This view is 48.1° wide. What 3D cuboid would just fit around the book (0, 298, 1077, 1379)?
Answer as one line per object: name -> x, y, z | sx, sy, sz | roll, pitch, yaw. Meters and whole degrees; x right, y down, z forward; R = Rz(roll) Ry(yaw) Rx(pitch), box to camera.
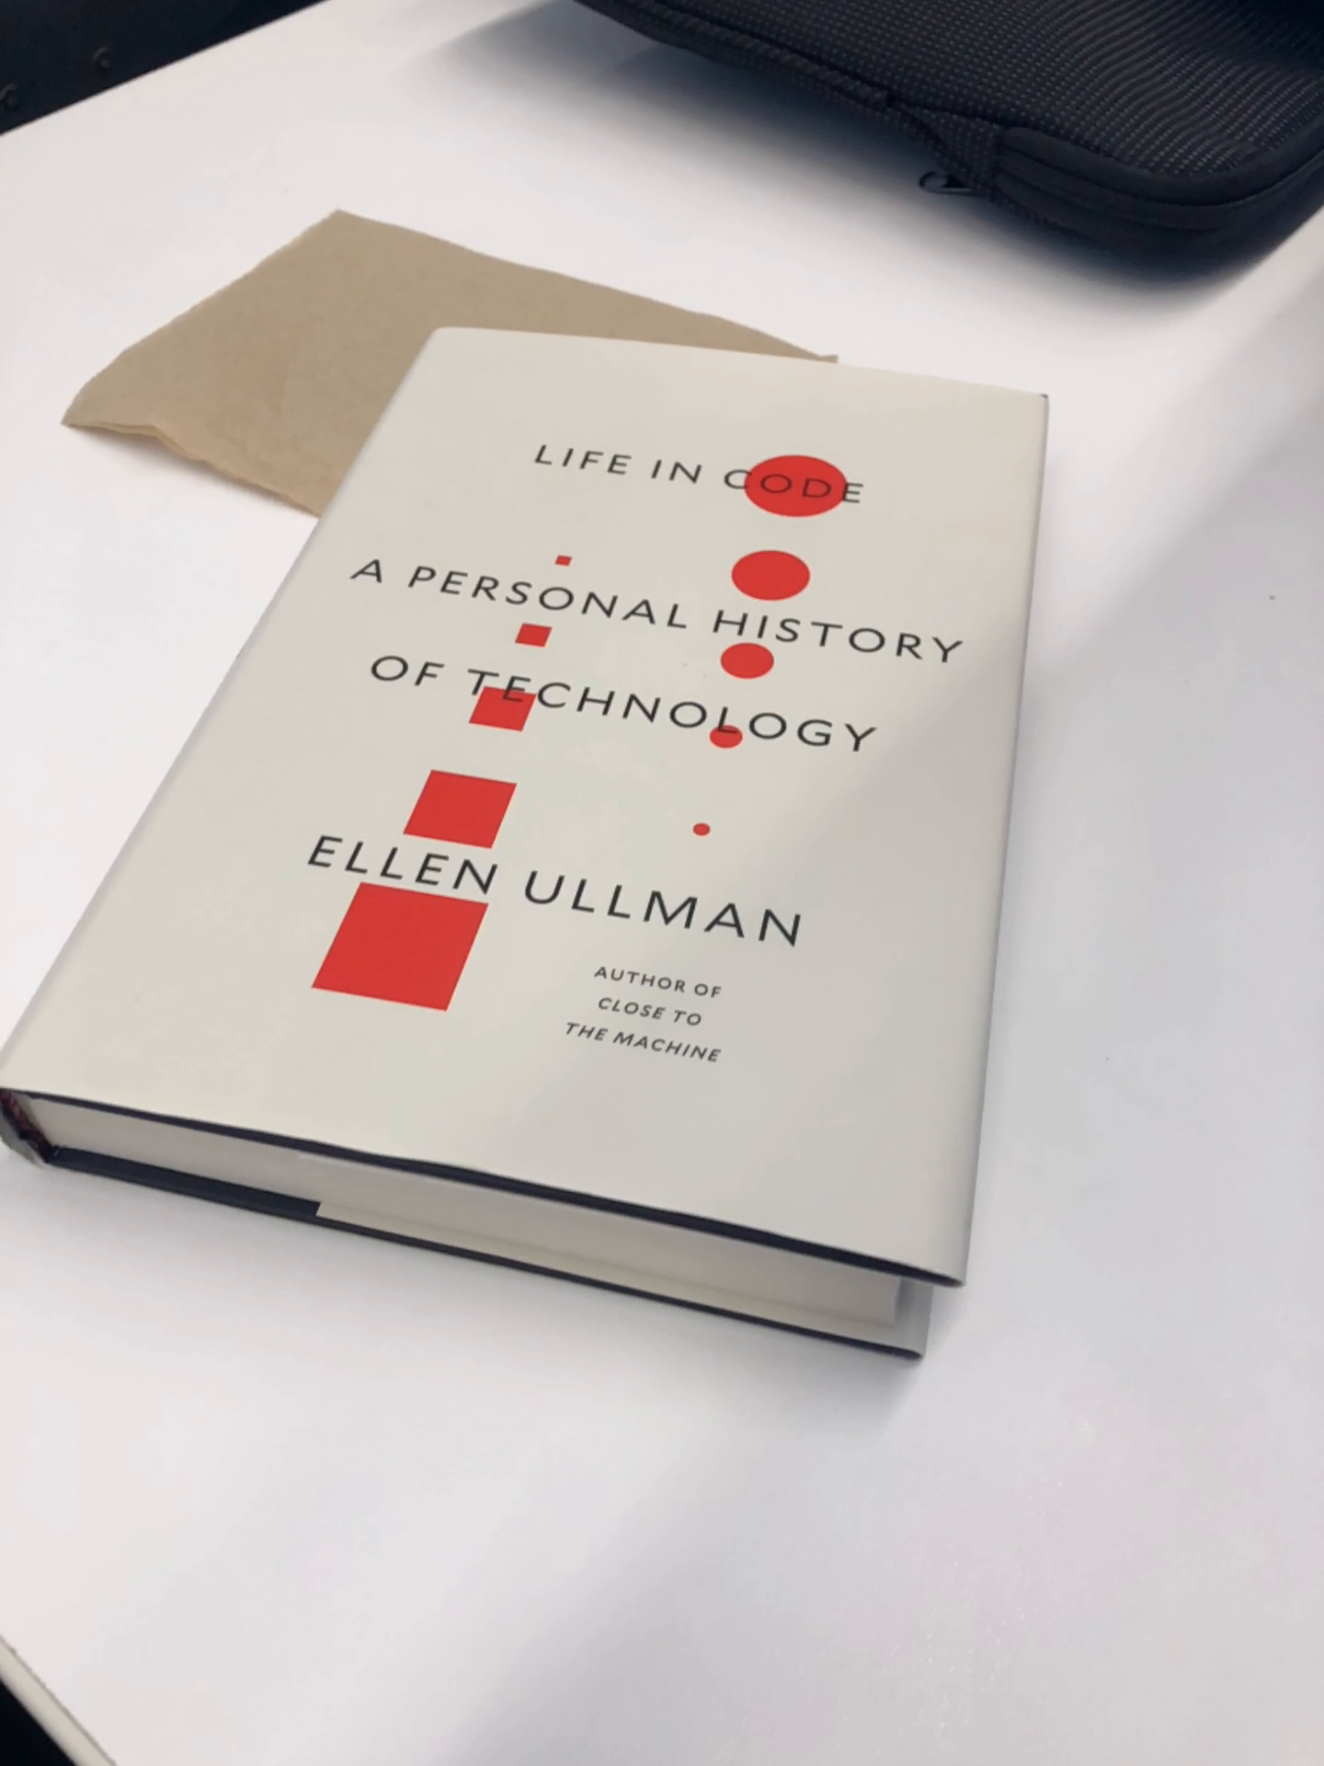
book -> -0.011, -0.034, 0.282 | 0.160, 0.030, 0.221 | 10, 50, 9
